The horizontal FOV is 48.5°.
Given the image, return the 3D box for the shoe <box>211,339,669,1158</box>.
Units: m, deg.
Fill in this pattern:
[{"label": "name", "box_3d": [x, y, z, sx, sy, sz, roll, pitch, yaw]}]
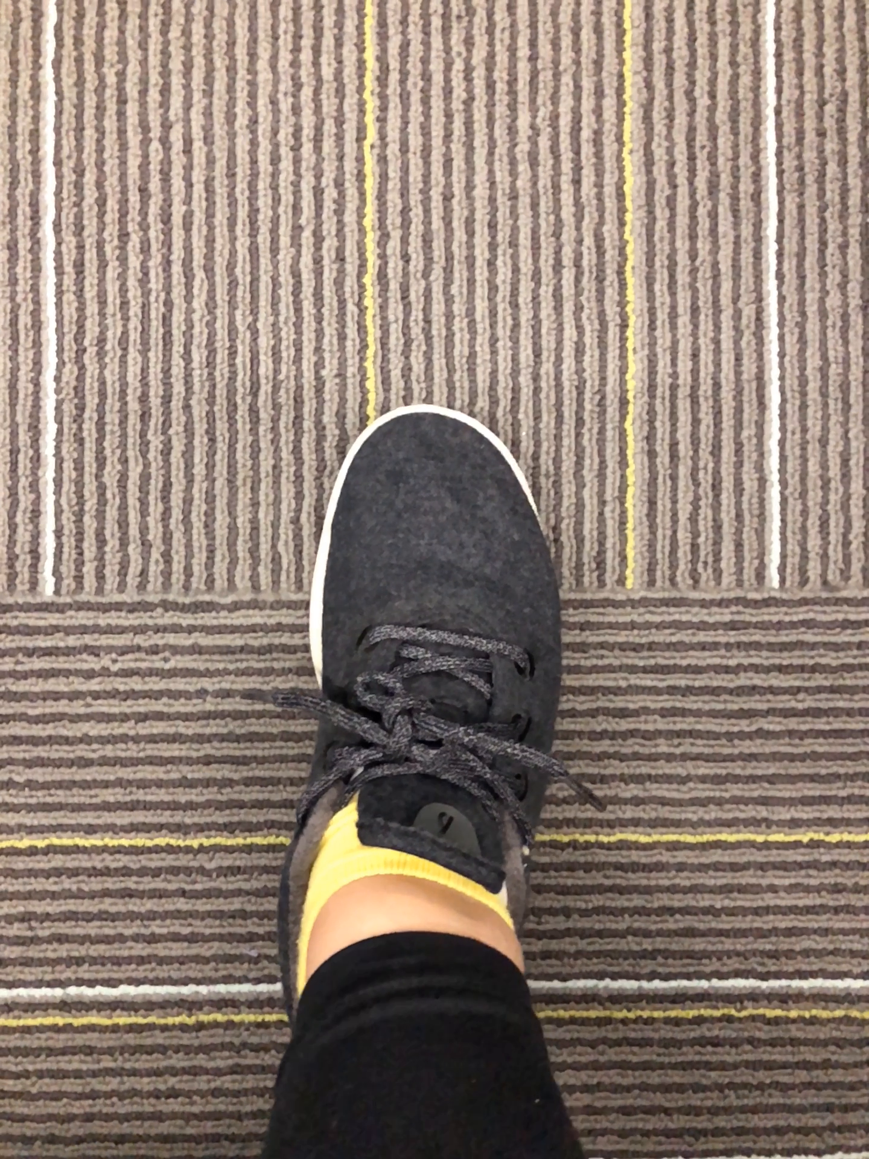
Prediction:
[{"label": "shoe", "box_3d": [0.002, 0.061, 0.337, 0.120, 0.080, 0.260, 5, 89, -1]}]
